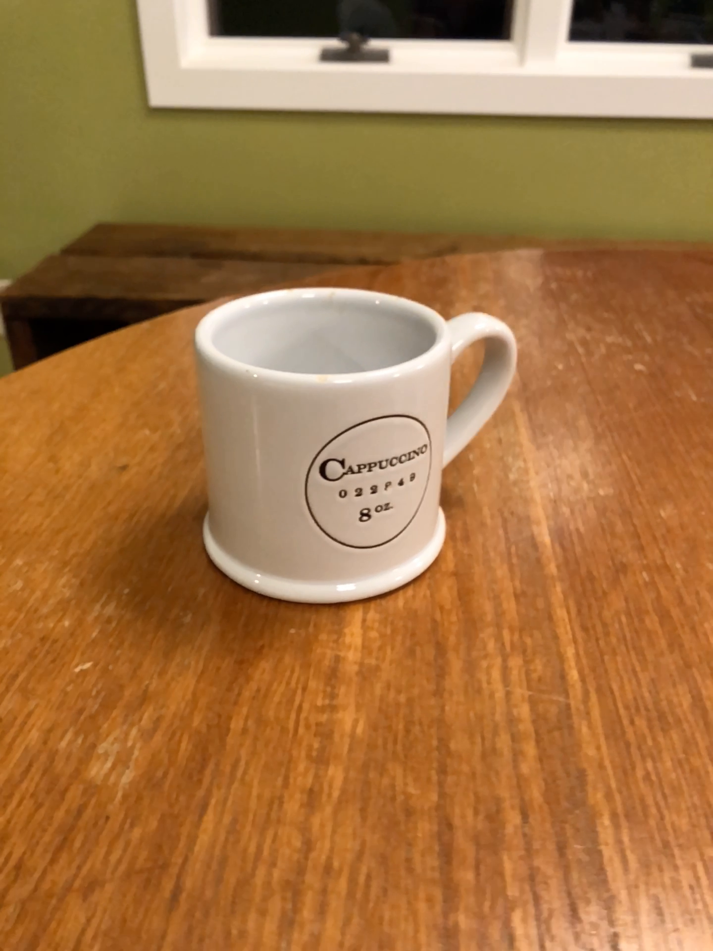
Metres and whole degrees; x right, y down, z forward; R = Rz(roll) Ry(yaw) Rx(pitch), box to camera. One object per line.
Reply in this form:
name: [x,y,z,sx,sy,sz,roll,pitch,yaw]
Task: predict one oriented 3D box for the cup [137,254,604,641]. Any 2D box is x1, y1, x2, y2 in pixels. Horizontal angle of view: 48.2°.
cup: [0.005,-0.021,0.297,0.136,0.082,0.090,-19,36,-29]
